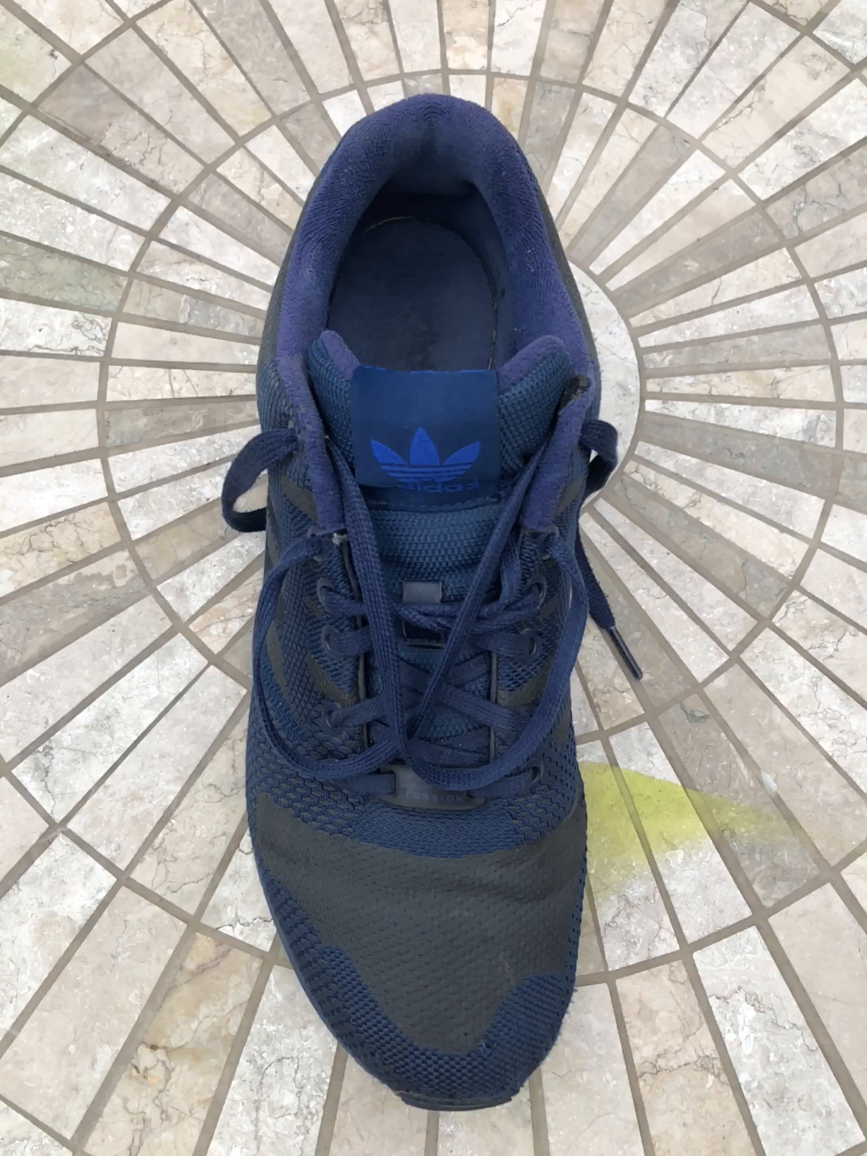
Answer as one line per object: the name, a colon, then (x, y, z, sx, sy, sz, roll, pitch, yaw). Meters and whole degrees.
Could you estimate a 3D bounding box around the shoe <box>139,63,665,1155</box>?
shoe: (-0.006, 0.009, 0.284, 0.110, 0.110, 0.280, 0, 78, 0)
